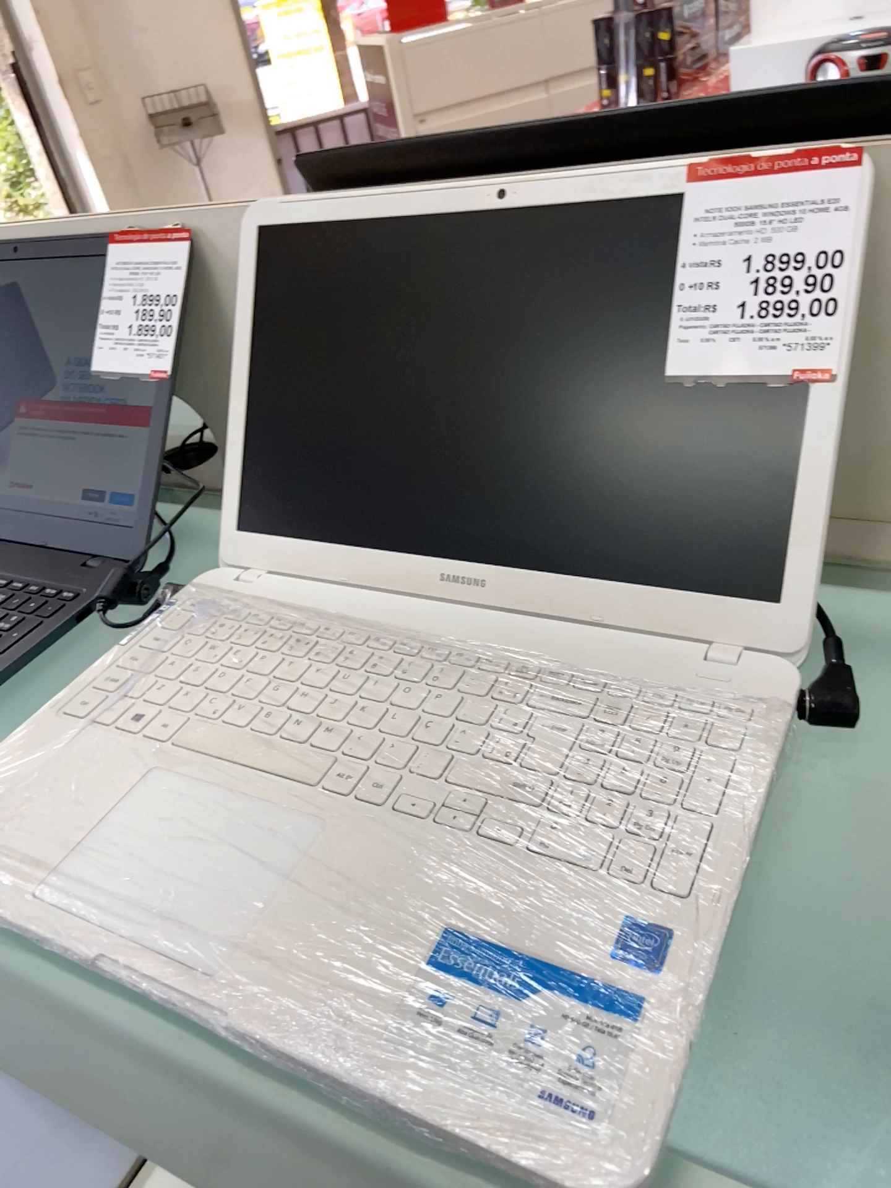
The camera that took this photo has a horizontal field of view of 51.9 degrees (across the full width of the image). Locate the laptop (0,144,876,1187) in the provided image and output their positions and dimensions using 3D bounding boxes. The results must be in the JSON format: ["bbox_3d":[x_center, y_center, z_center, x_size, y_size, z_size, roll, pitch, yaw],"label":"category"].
[{"bbox_3d":[-0.037,-0.038,0.432,0.376,0.192,0.382,8,40,29],"label":"laptop"}]
